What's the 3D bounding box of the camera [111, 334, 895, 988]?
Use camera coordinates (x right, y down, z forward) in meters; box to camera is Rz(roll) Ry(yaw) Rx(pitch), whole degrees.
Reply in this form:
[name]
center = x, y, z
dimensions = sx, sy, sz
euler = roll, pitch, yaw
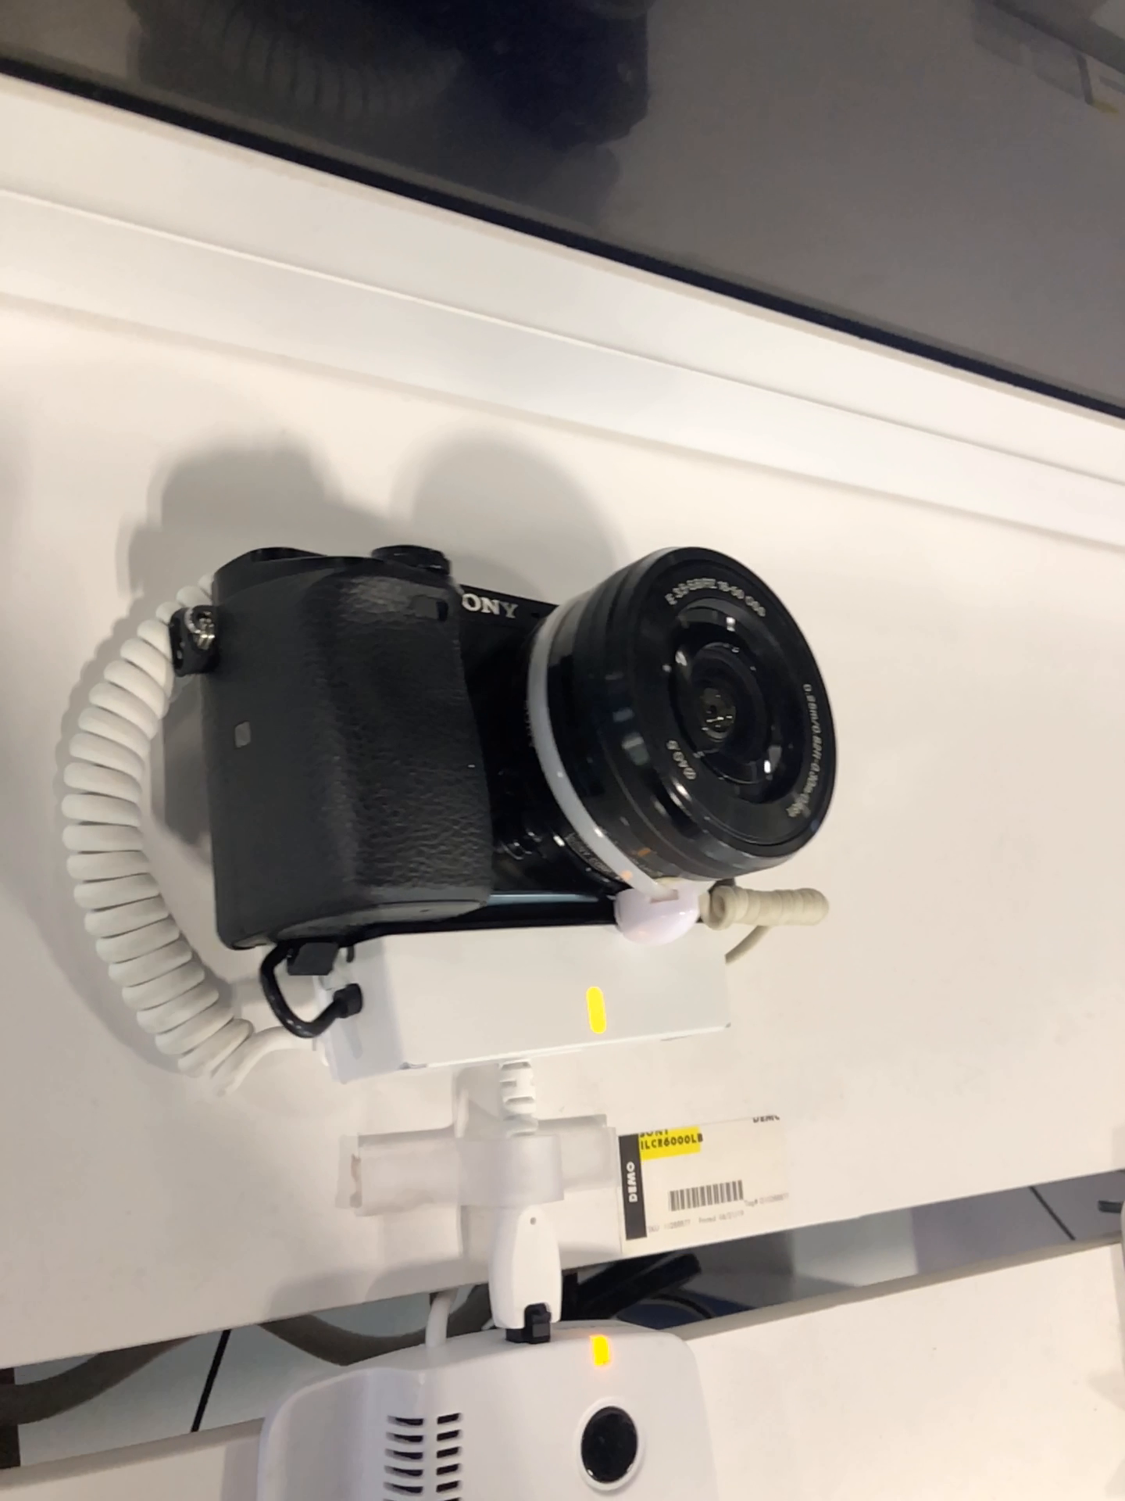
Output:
[camera]
center = -0.010, -0.006, 0.244
dimensions = 0.130, 0.070, 0.090
euler = 6, 72, -39
